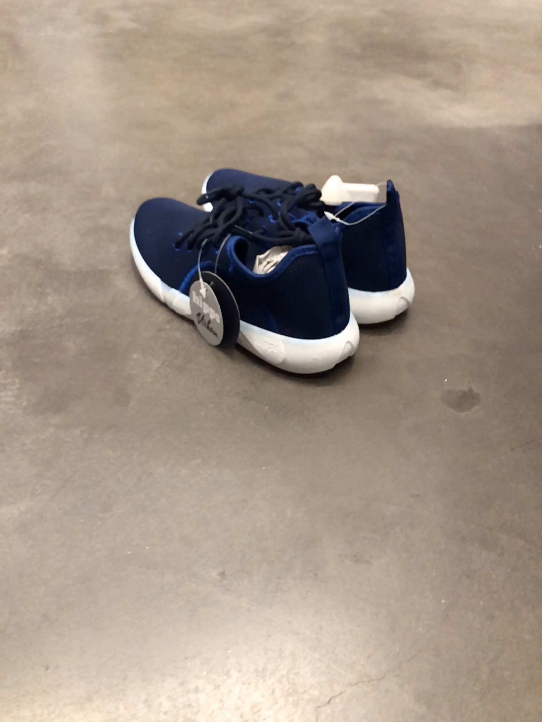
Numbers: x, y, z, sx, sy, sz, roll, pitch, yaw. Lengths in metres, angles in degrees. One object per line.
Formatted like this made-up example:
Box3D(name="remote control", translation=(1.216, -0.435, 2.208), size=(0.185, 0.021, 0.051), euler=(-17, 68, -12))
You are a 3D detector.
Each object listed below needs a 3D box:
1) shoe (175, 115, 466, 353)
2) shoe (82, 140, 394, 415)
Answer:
Box3D(name="shoe", translation=(0.029, -0.121, 0.519), size=(0.090, 0.089, 0.240), euler=(-31, 53, -32))
Box3D(name="shoe", translation=(-0.036, -0.078, 0.466), size=(0.090, 0.089, 0.240), euler=(-31, 53, -32))
